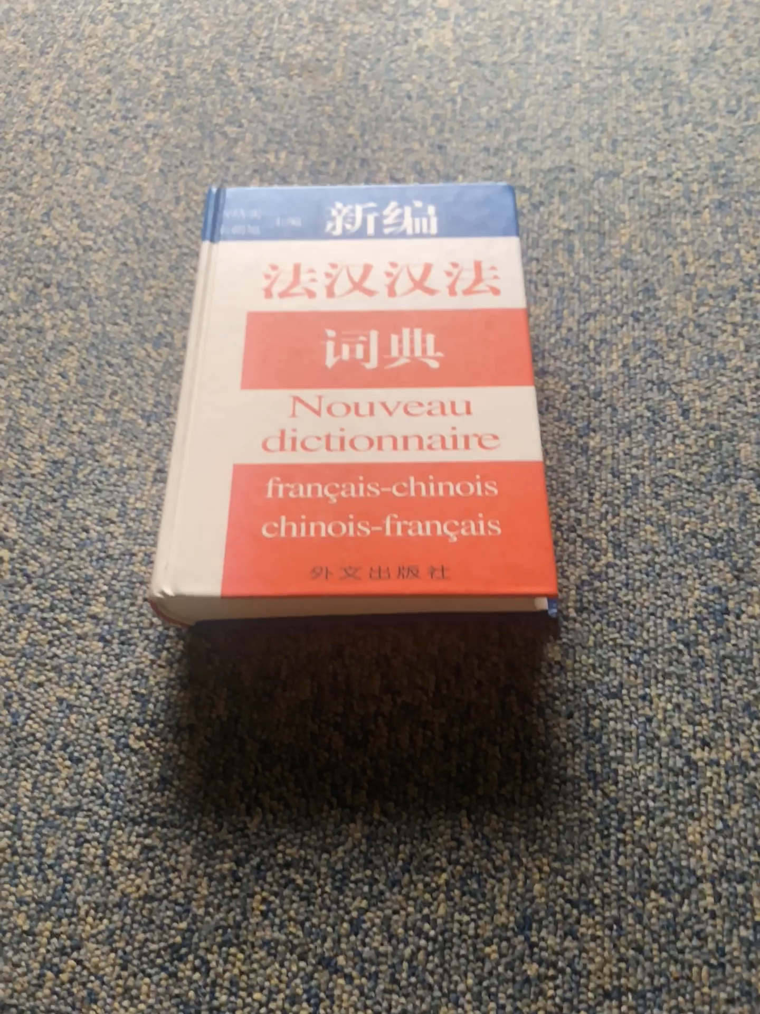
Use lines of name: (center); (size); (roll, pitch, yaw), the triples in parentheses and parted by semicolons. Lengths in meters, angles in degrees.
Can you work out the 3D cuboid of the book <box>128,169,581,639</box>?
book: (-0.009, -0.052, 0.349); (0.152, 0.034, 0.209); (-1, 62, 1)
